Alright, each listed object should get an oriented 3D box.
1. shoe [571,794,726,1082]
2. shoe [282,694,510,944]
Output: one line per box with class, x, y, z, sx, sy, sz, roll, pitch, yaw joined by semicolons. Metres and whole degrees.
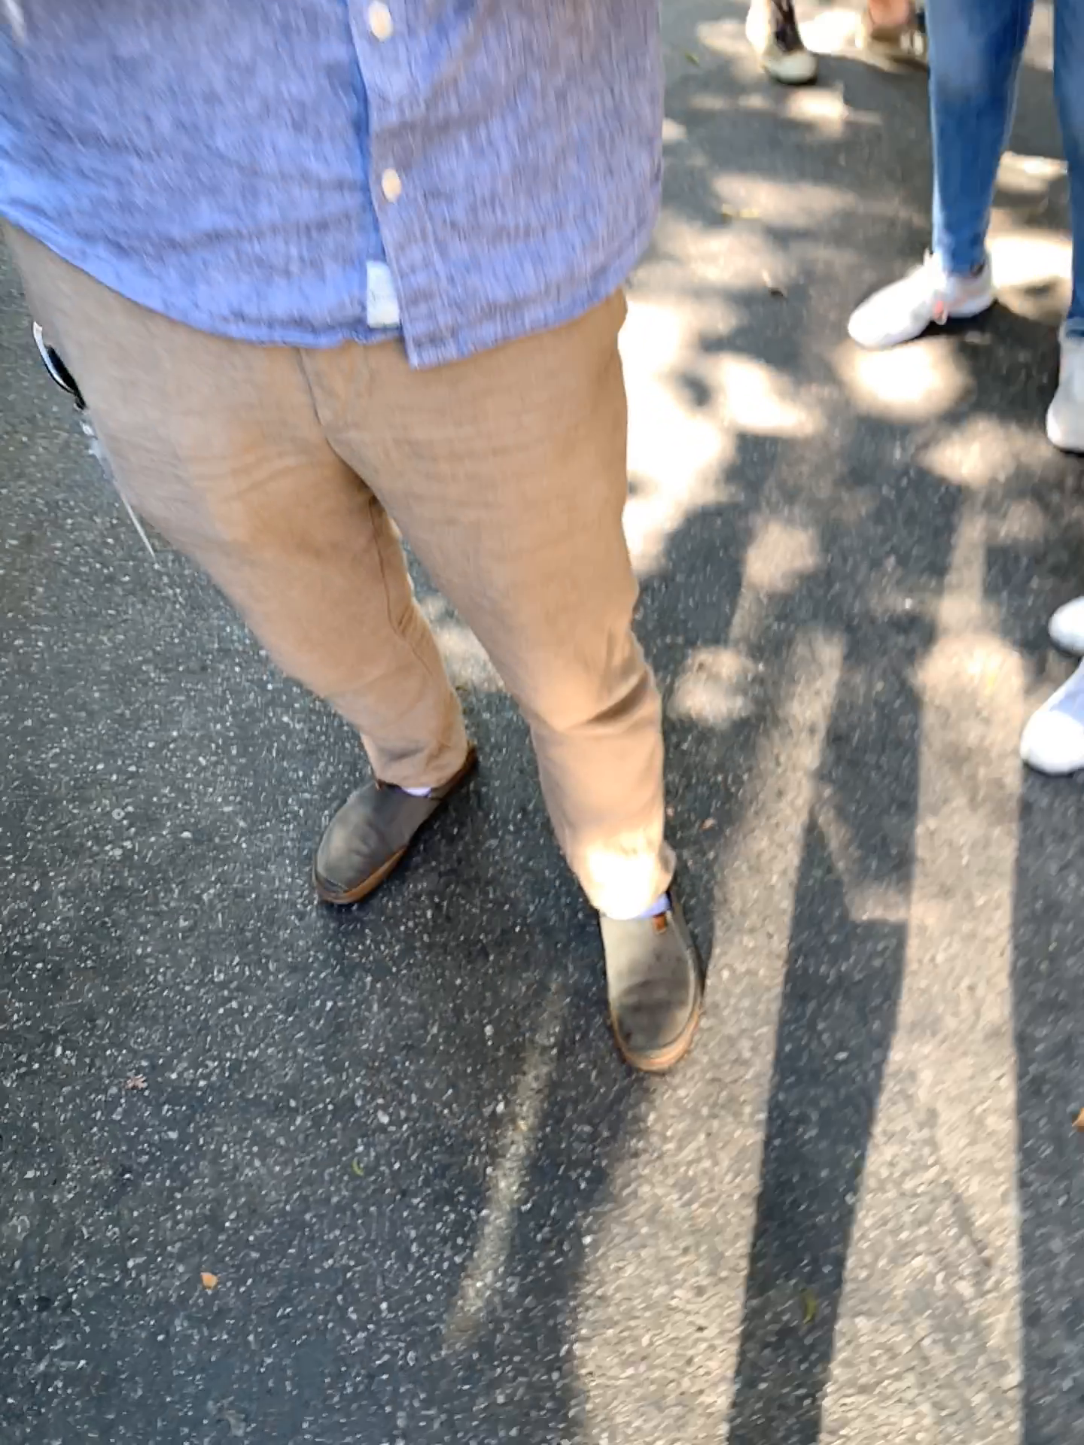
shoe;0.122;0.252;1.348;0.120;0.080;0.321;-9;56;-1
shoe;-0.183;0.118;1.456;0.120;0.060;0.320;26;62;21
